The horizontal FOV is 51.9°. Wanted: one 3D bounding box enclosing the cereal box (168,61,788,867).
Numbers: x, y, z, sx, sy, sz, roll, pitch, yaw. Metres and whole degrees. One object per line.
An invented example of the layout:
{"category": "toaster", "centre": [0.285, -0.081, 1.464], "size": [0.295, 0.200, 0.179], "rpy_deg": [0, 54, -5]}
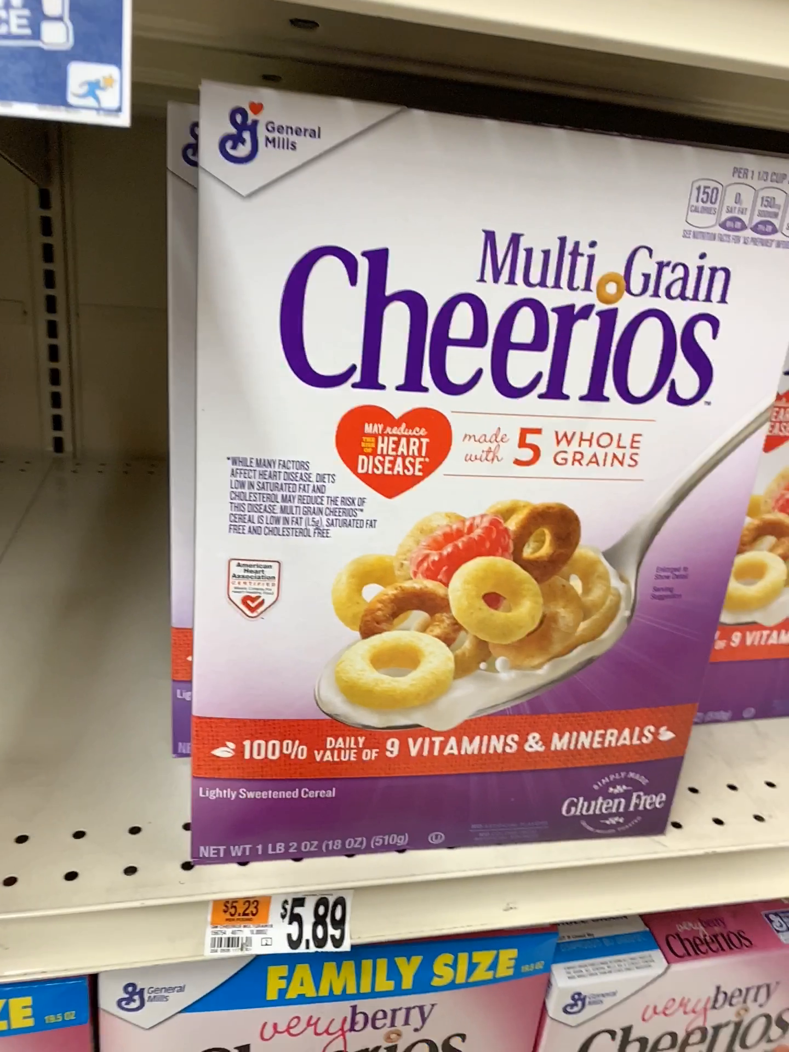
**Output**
{"category": "cereal box", "centre": [0.029, -0.008, 0.368], "size": [0.250, 0.319, 0.070], "rpy_deg": [1, 20, -13]}
